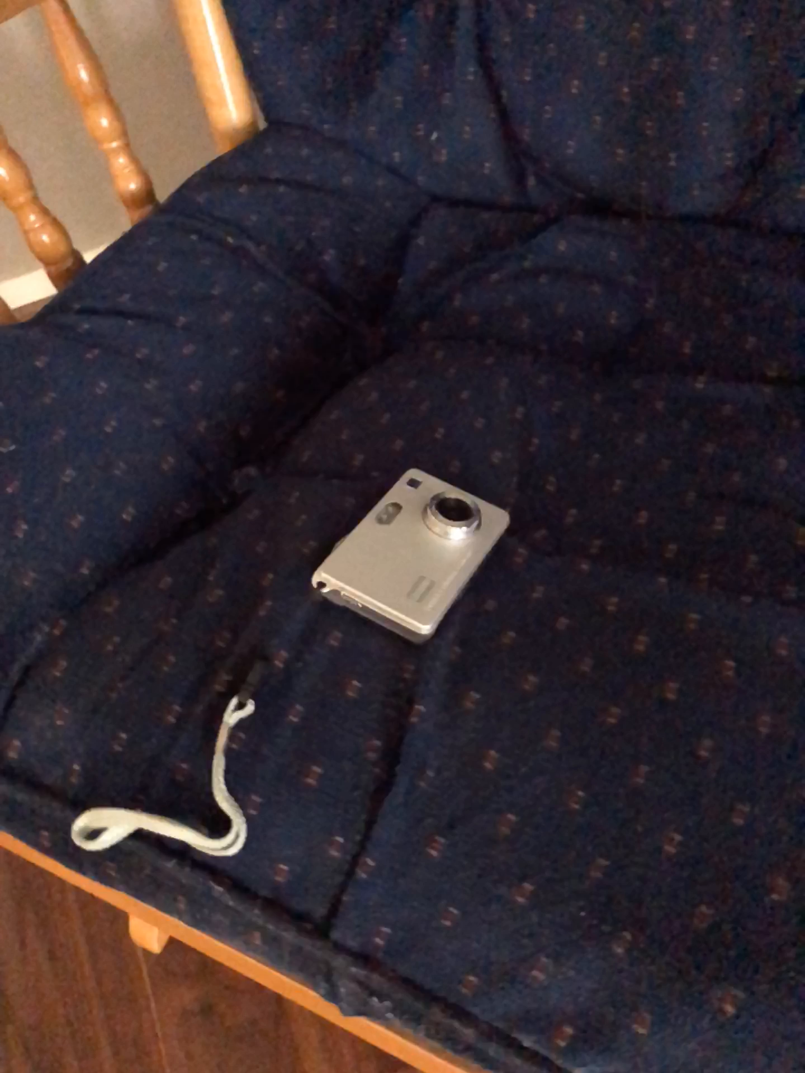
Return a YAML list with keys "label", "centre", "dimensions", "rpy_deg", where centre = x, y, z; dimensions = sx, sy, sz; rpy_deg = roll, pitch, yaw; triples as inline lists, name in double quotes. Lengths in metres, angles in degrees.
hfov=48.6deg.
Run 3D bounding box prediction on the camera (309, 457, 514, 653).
- label: "camera"
  centre: [0.006, 0.005, 0.401]
  dimensions: [0.058, 0.018, 0.085]
  rpy_deg: [26, 49, 15]
